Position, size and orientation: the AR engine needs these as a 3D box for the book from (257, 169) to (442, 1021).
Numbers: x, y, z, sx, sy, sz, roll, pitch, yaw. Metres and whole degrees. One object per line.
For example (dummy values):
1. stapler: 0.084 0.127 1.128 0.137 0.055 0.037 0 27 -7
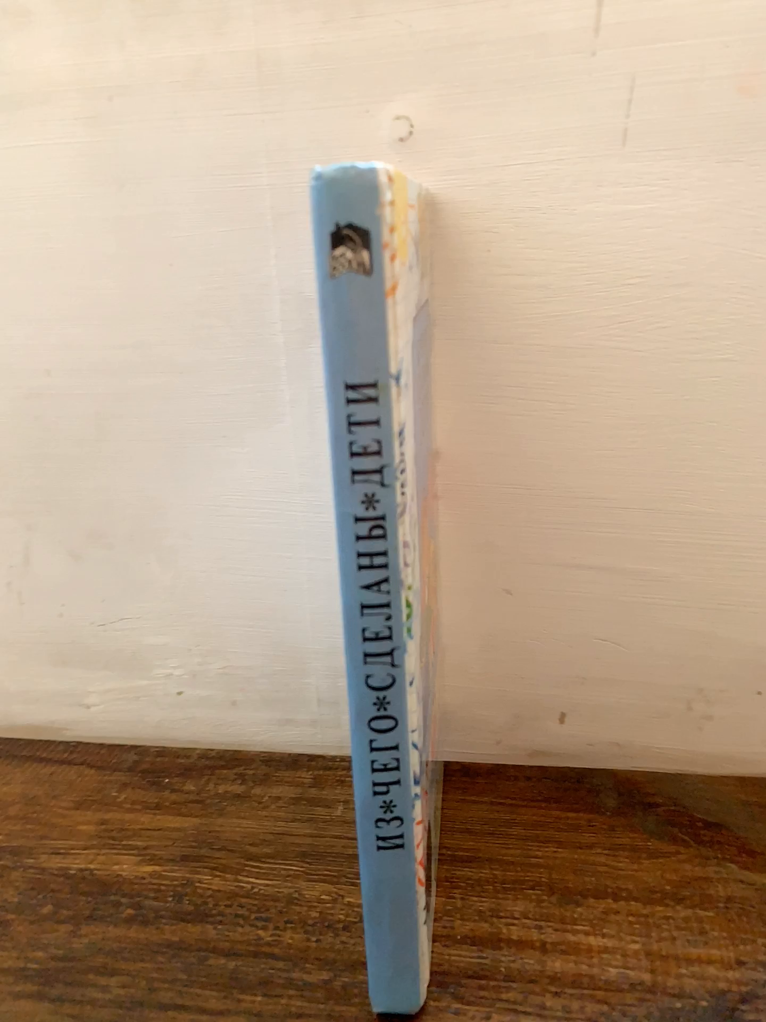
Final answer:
1. book: 0.001 0.013 0.227 0.020 0.195 0.131 -1 19 7
